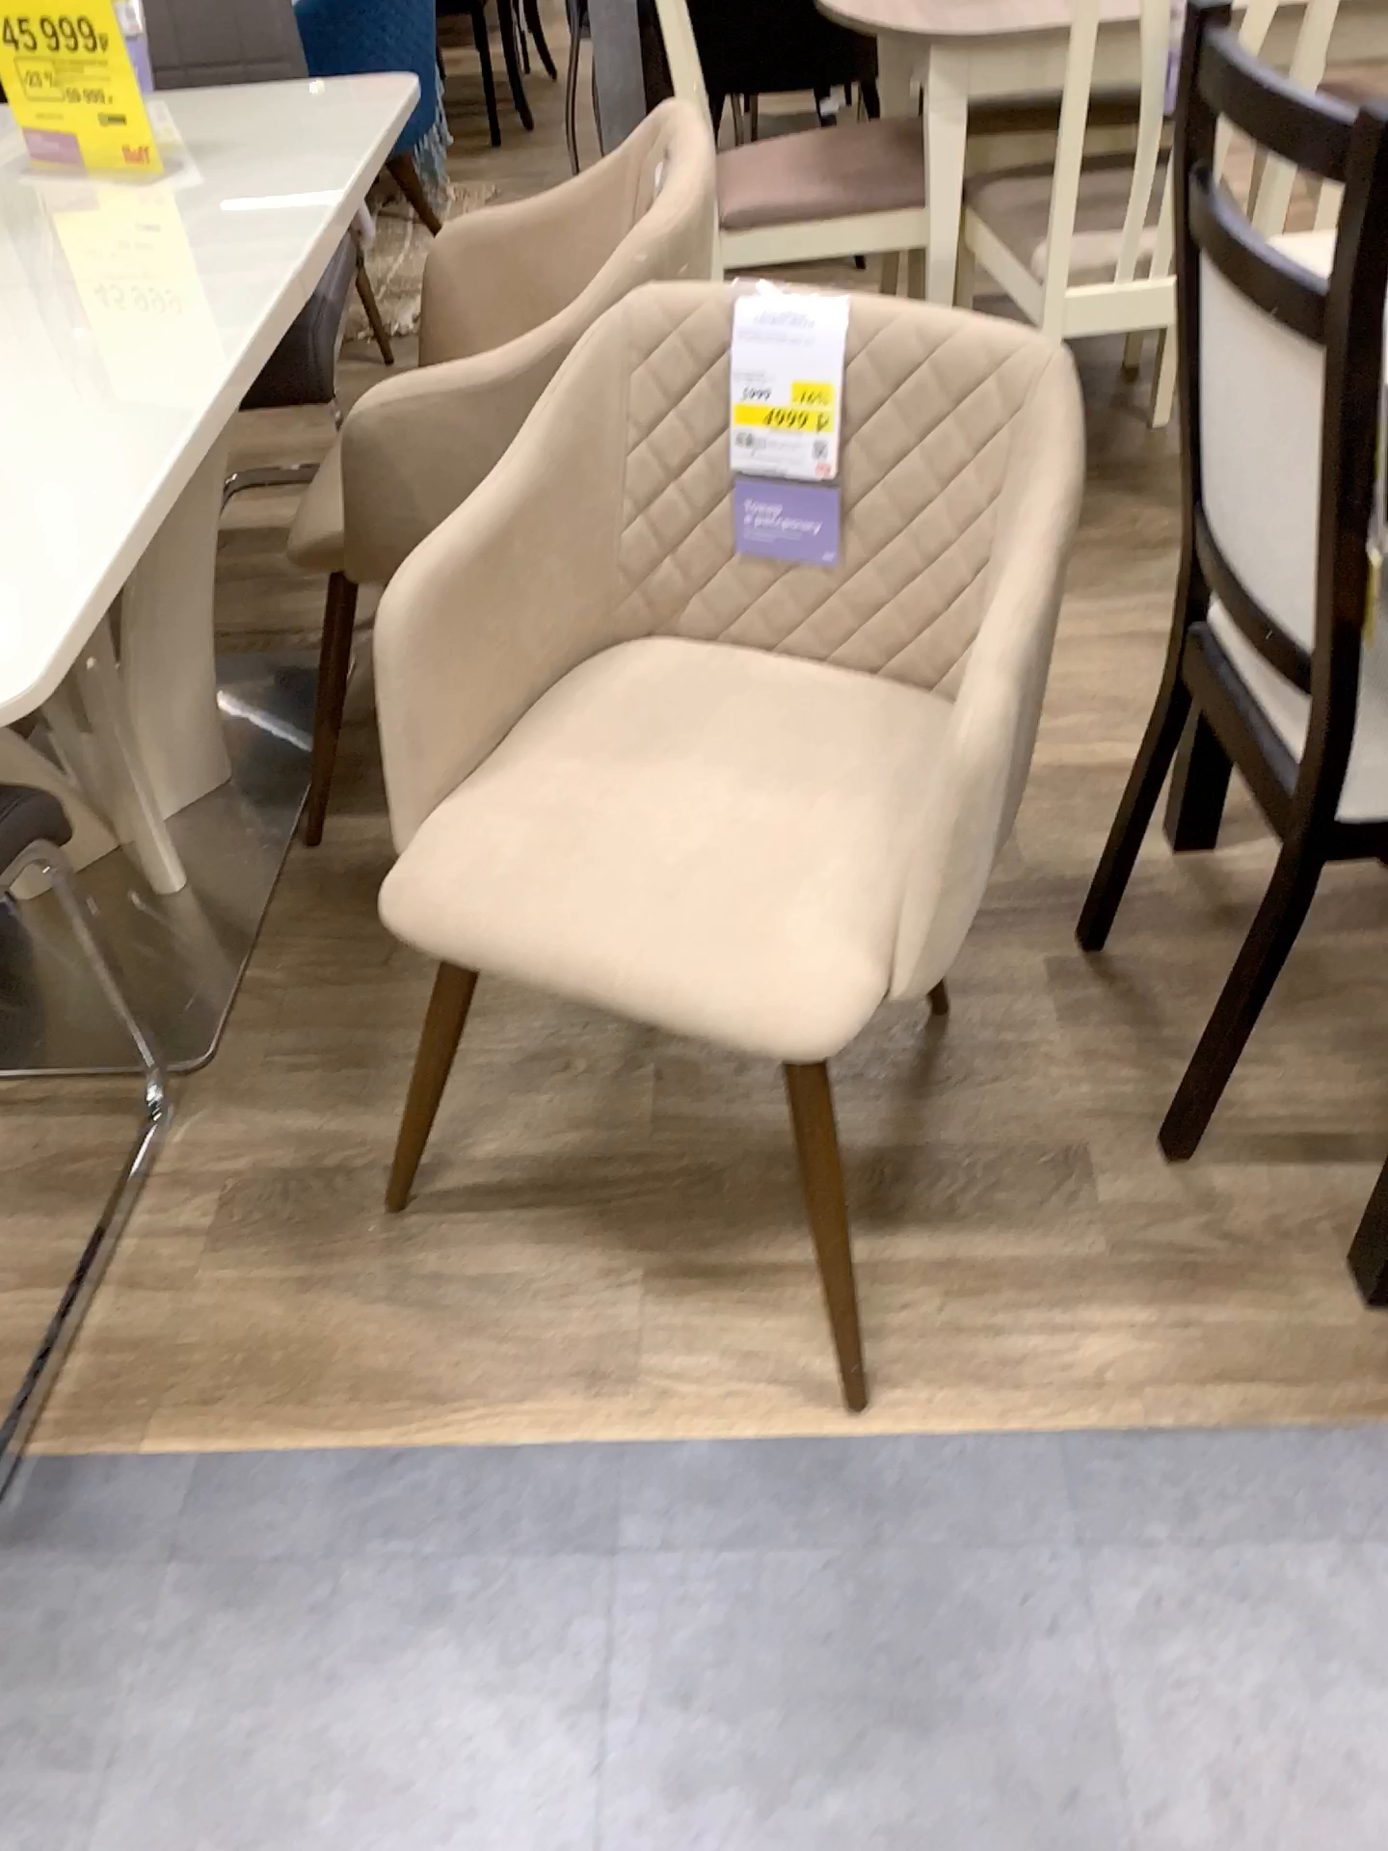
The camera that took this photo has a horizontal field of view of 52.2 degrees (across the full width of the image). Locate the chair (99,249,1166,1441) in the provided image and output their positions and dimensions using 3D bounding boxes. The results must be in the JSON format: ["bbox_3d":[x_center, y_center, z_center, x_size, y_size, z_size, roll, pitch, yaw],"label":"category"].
[{"bbox_3d":[0.010,-0.080,1.343,0.601,0.835,0.573,17,47,22],"label":"chair"}]
